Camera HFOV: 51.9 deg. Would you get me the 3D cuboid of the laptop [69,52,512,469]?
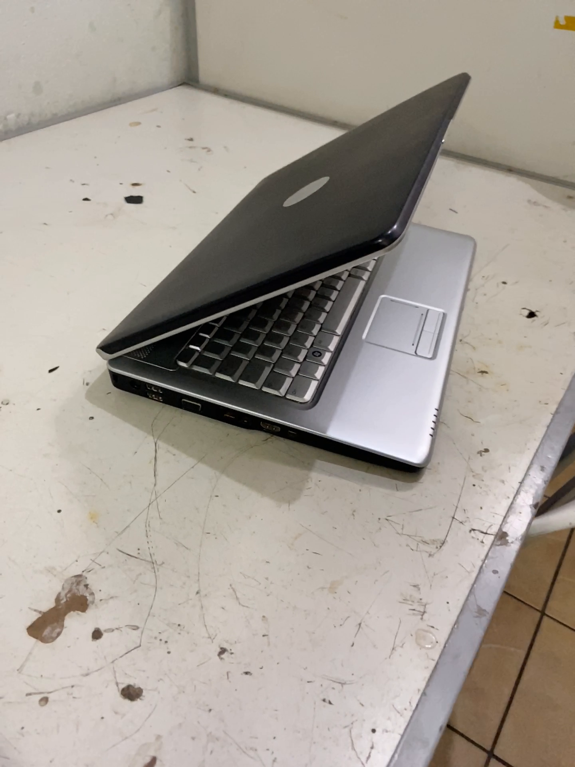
[{"bbox_3d":[0.038,-0.138,0.491,0.237,0.145,0.349,16,42,11],"label":"laptop"}]
